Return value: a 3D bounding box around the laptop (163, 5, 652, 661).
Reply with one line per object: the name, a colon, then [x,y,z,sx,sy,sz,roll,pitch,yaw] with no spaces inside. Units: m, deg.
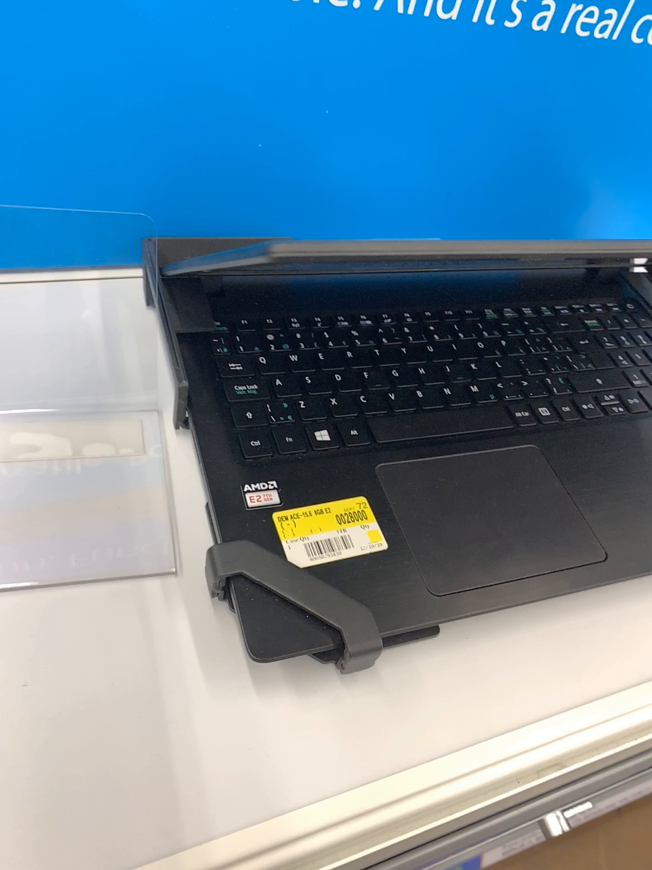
laptop: [0.122,-0.068,0.345,0.365,0.146,0.234,-6,53,-21]
